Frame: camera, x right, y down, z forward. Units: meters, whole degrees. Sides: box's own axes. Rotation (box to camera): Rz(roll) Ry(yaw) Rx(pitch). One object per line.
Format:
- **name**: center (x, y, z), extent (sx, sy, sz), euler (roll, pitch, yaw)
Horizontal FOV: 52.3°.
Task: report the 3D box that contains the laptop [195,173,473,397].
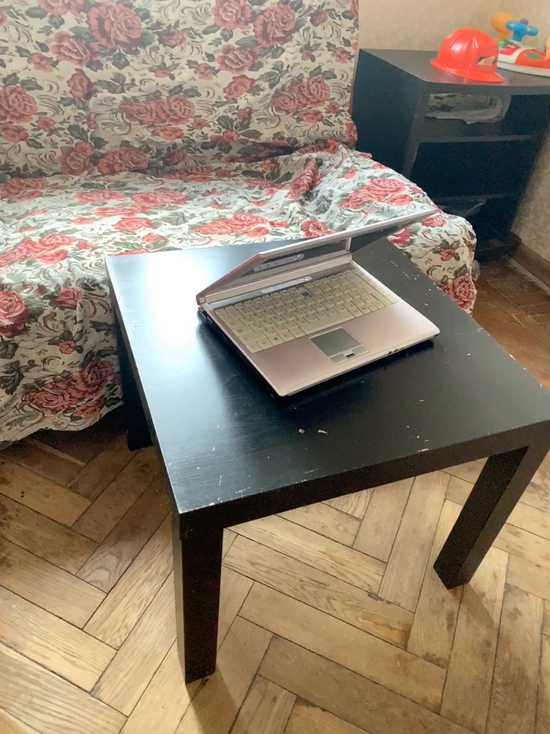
- **laptop**: center (0.075, -0.136, 0.805), extent (0.306, 0.156, 0.226), euler (-21, 48, -29)
